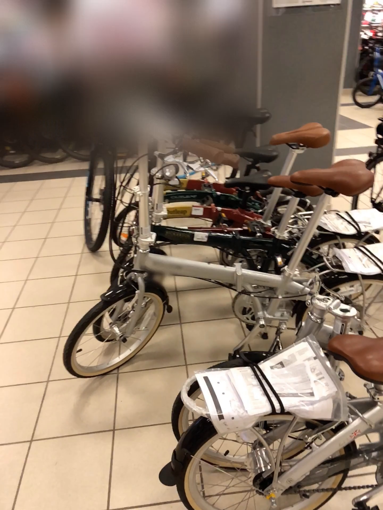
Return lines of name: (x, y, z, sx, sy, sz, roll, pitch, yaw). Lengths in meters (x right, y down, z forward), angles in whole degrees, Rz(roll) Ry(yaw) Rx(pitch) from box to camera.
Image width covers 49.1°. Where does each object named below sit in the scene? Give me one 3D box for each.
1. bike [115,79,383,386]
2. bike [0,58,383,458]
bike: (0.335, -0.119, 1.784, 1.140, 1.037, 0.559, -7, 27, -6)
bike: (0.198, -0.008, 1.425, 1.358, 1.153, 0.555, -4, 27, -4)
